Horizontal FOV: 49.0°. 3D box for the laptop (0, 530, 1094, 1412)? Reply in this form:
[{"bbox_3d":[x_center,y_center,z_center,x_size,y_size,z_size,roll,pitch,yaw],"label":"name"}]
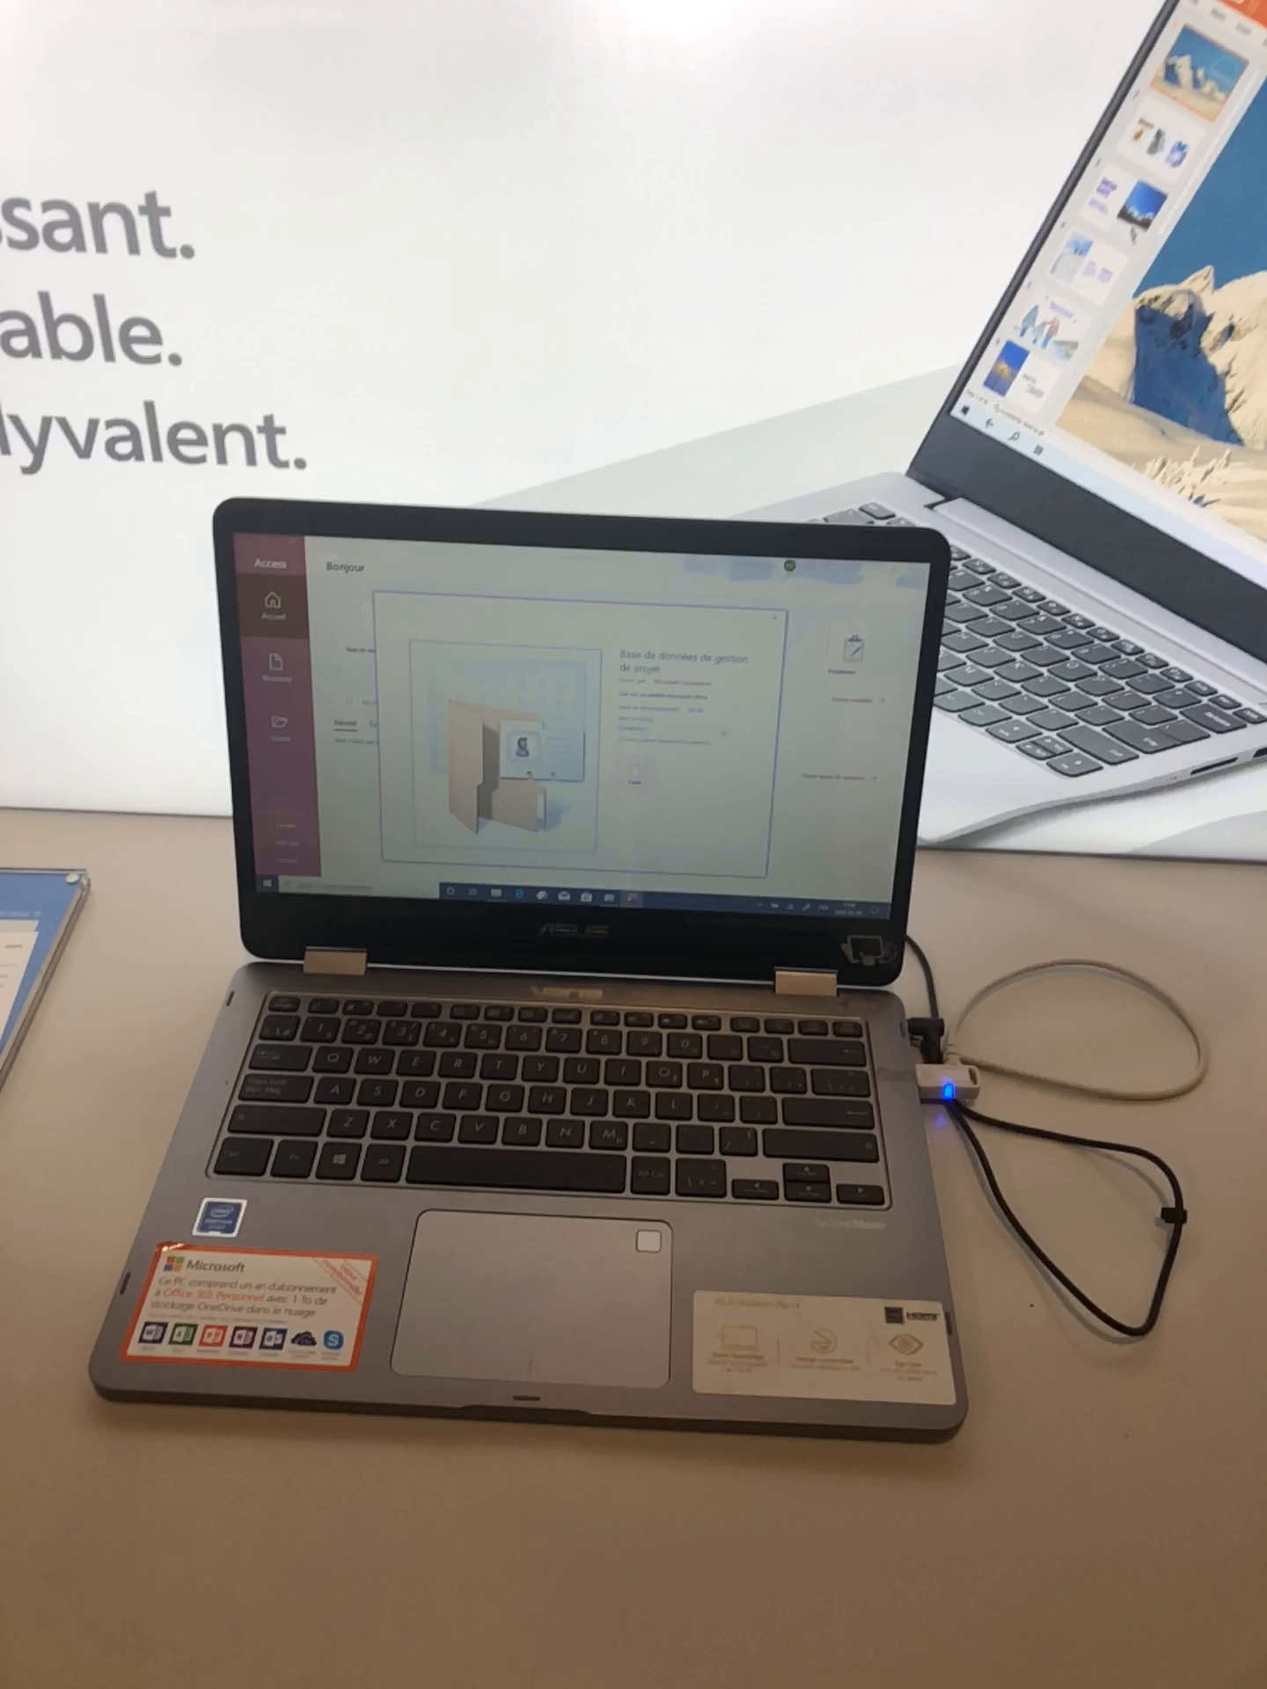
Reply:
[{"bbox_3d":[-0.029,0.036,0.552,0.311,0.214,0.274,3,37,0],"label":"laptop"}]
